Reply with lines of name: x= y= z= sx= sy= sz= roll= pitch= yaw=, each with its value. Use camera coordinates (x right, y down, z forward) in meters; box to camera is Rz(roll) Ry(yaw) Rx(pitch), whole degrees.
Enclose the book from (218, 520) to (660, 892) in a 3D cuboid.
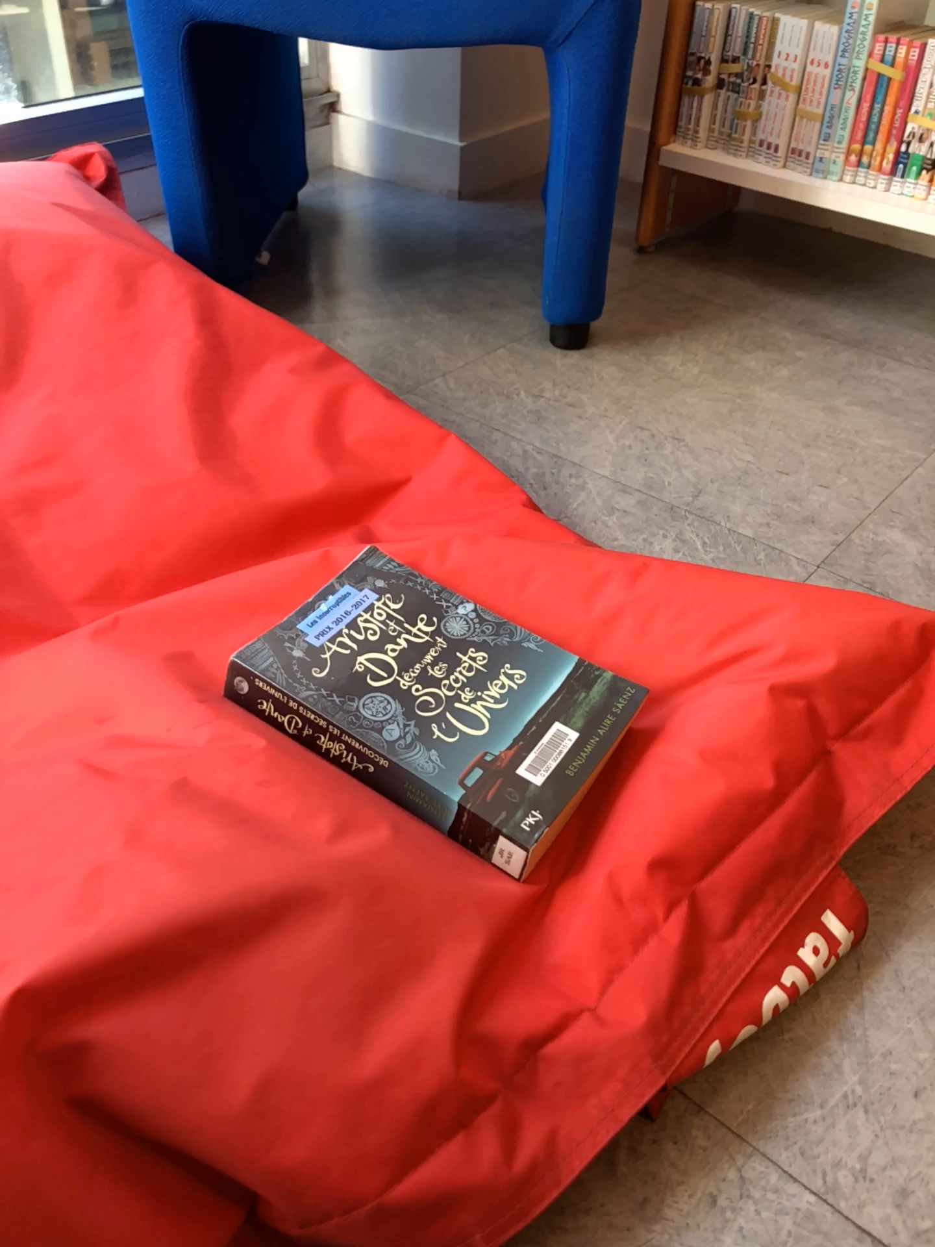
book: x=-0.018 y=0.040 z=0.647 sx=0.228 sy=0.048 sz=0.149 roll=30 pitch=51 yaw=21
